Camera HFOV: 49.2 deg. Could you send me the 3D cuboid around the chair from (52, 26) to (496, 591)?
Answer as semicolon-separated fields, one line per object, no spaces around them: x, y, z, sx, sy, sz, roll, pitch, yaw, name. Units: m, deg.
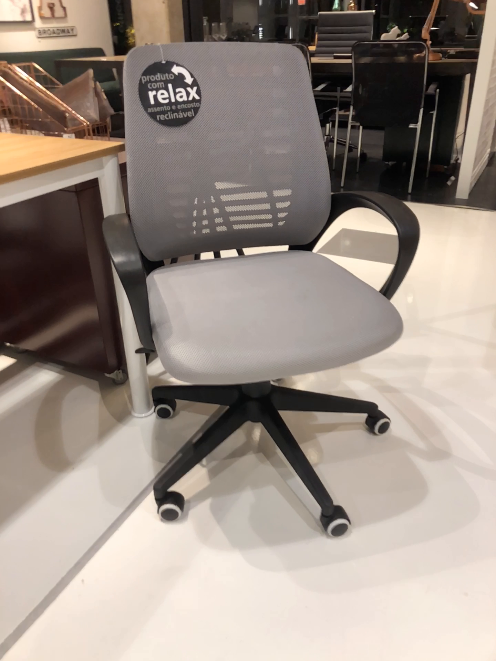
0.045;-0.118;1.104;0.660;0.854;0.665;-8;29;-12;chair
